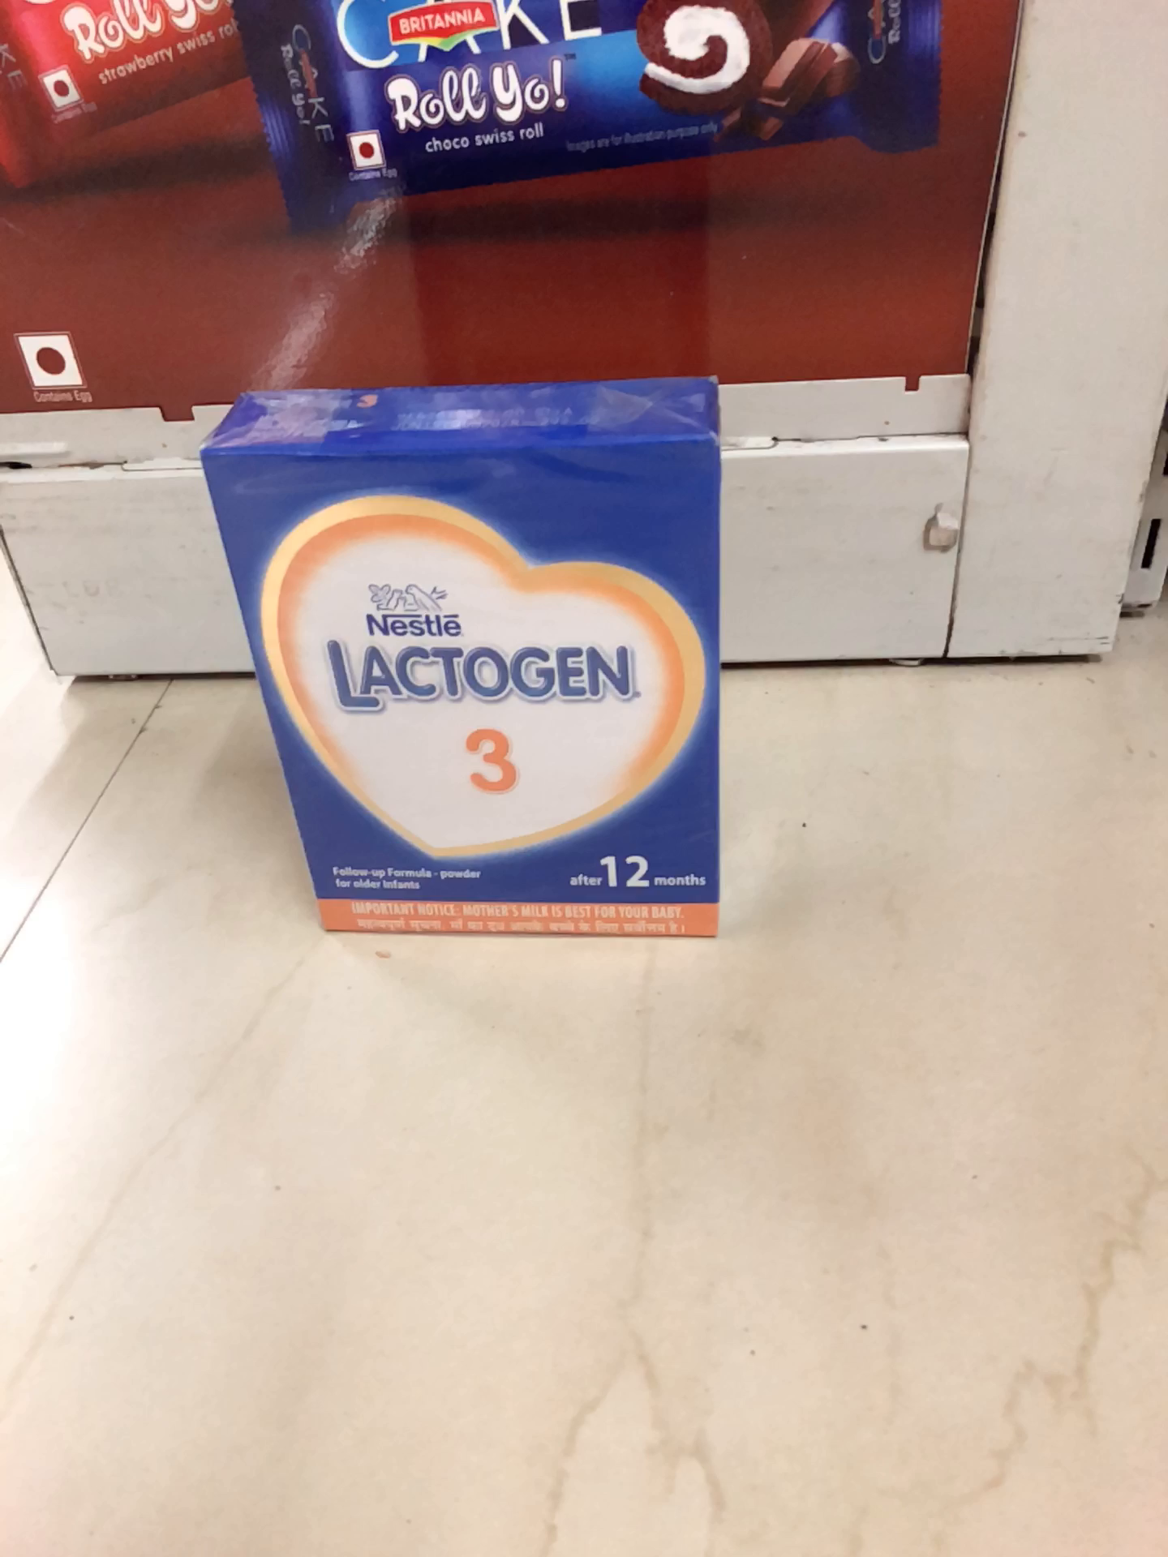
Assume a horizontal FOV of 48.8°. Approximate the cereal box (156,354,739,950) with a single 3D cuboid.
[{"bbox_3d":[-0.030,-0.034,0.428,0.160,0.189,0.060,1,37,7],"label":"cereal box"}]
